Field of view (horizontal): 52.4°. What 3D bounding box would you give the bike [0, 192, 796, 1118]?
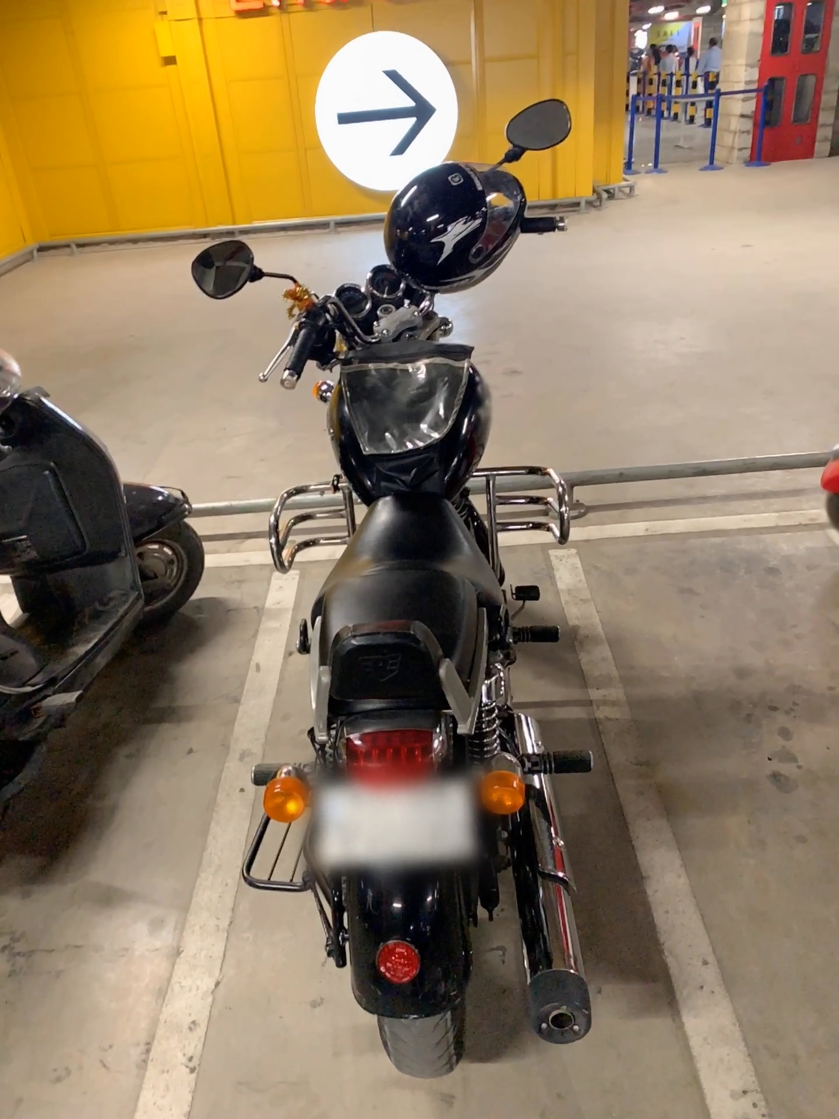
[{"bbox_3d":[-0.093,-0.065,2.029,0.828,1.228,2.087,-6,29,-1],"label":"bike"}]
